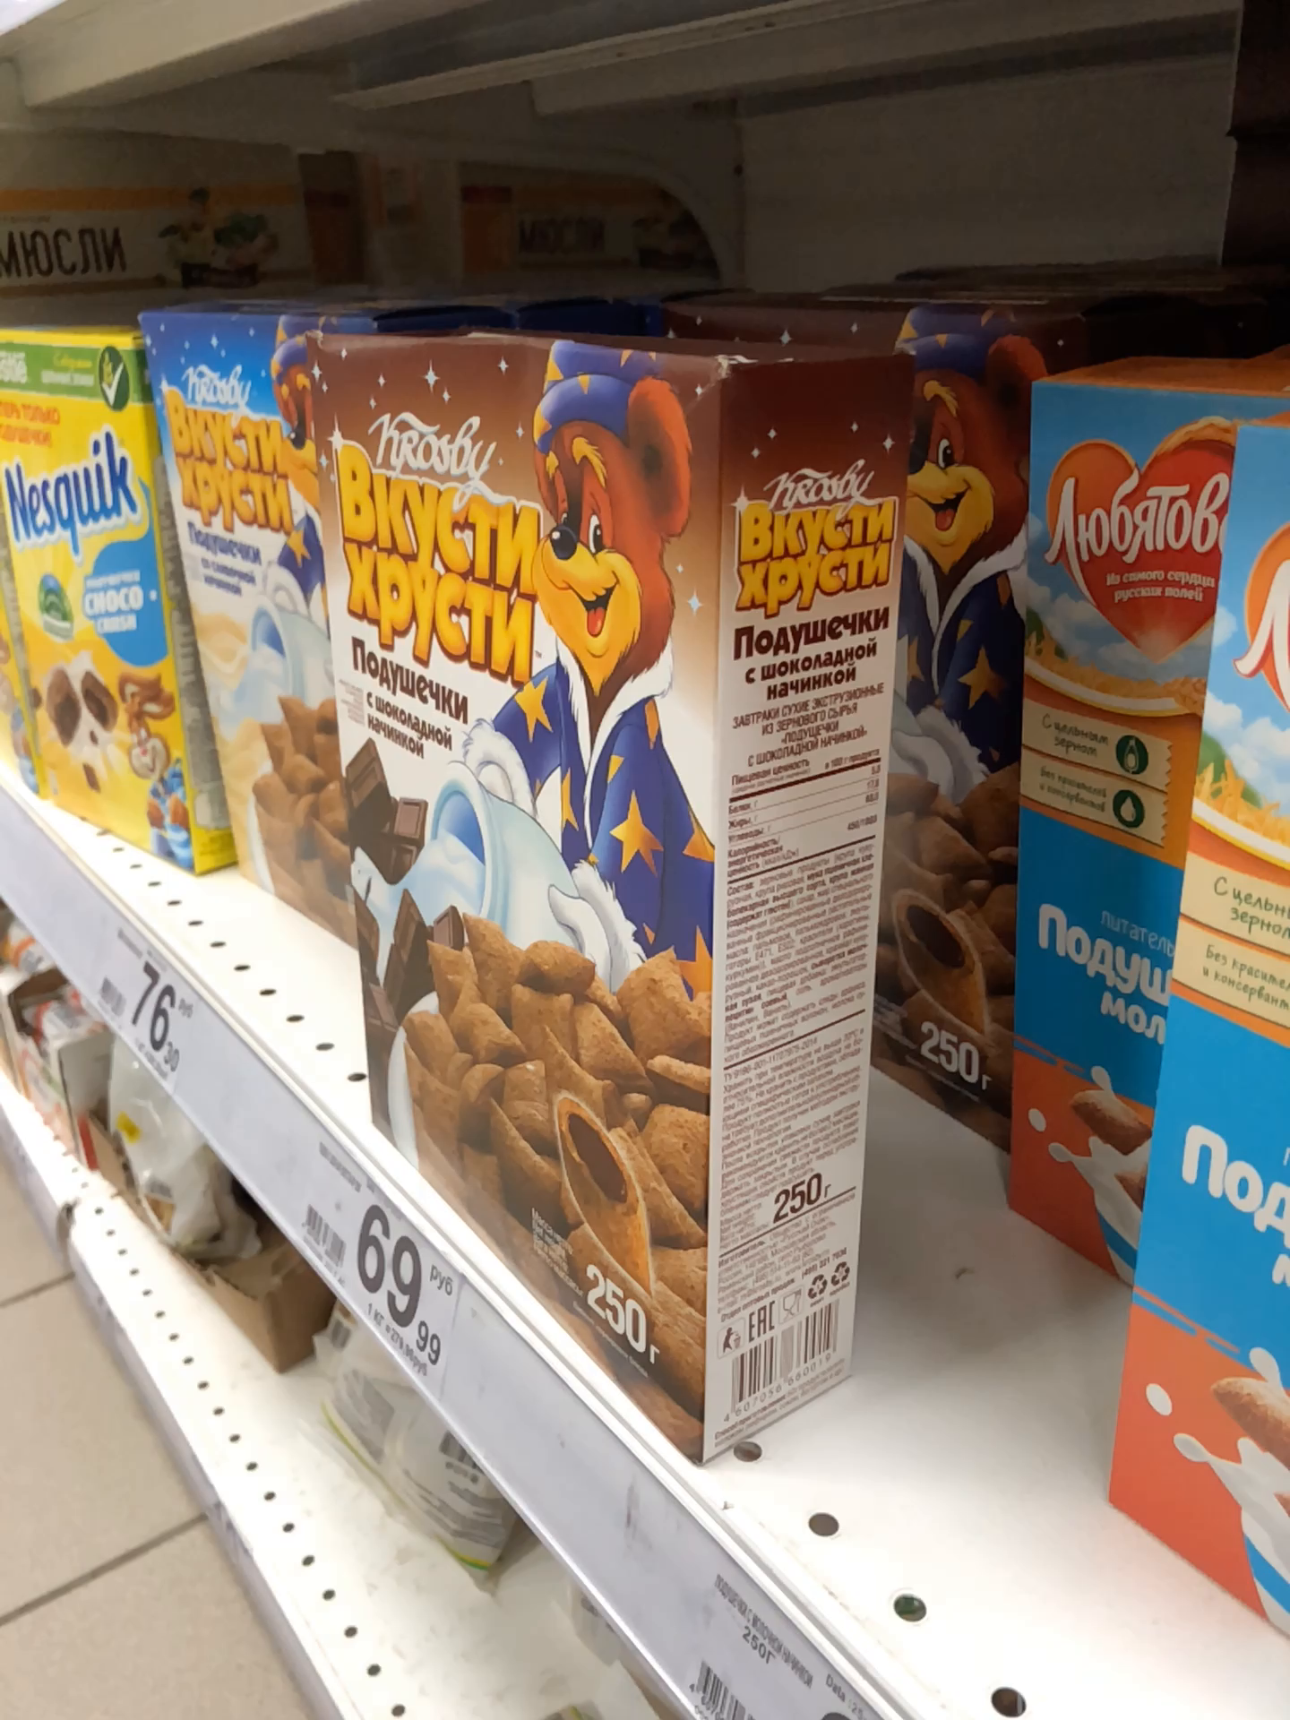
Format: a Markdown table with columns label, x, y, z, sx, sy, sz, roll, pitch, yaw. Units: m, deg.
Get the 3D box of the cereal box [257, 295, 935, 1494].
| label | x | y | z | sx | sy | sz | roll | pitch | yaw |
| --- | --- | --- | --- | --- | --- | --- | --- | --- | --- |
| cereal box | -0.023 | -0.009 | 0.336 | 0.050 | 0.229 | 0.181 | -14 | 26 | -32 |
